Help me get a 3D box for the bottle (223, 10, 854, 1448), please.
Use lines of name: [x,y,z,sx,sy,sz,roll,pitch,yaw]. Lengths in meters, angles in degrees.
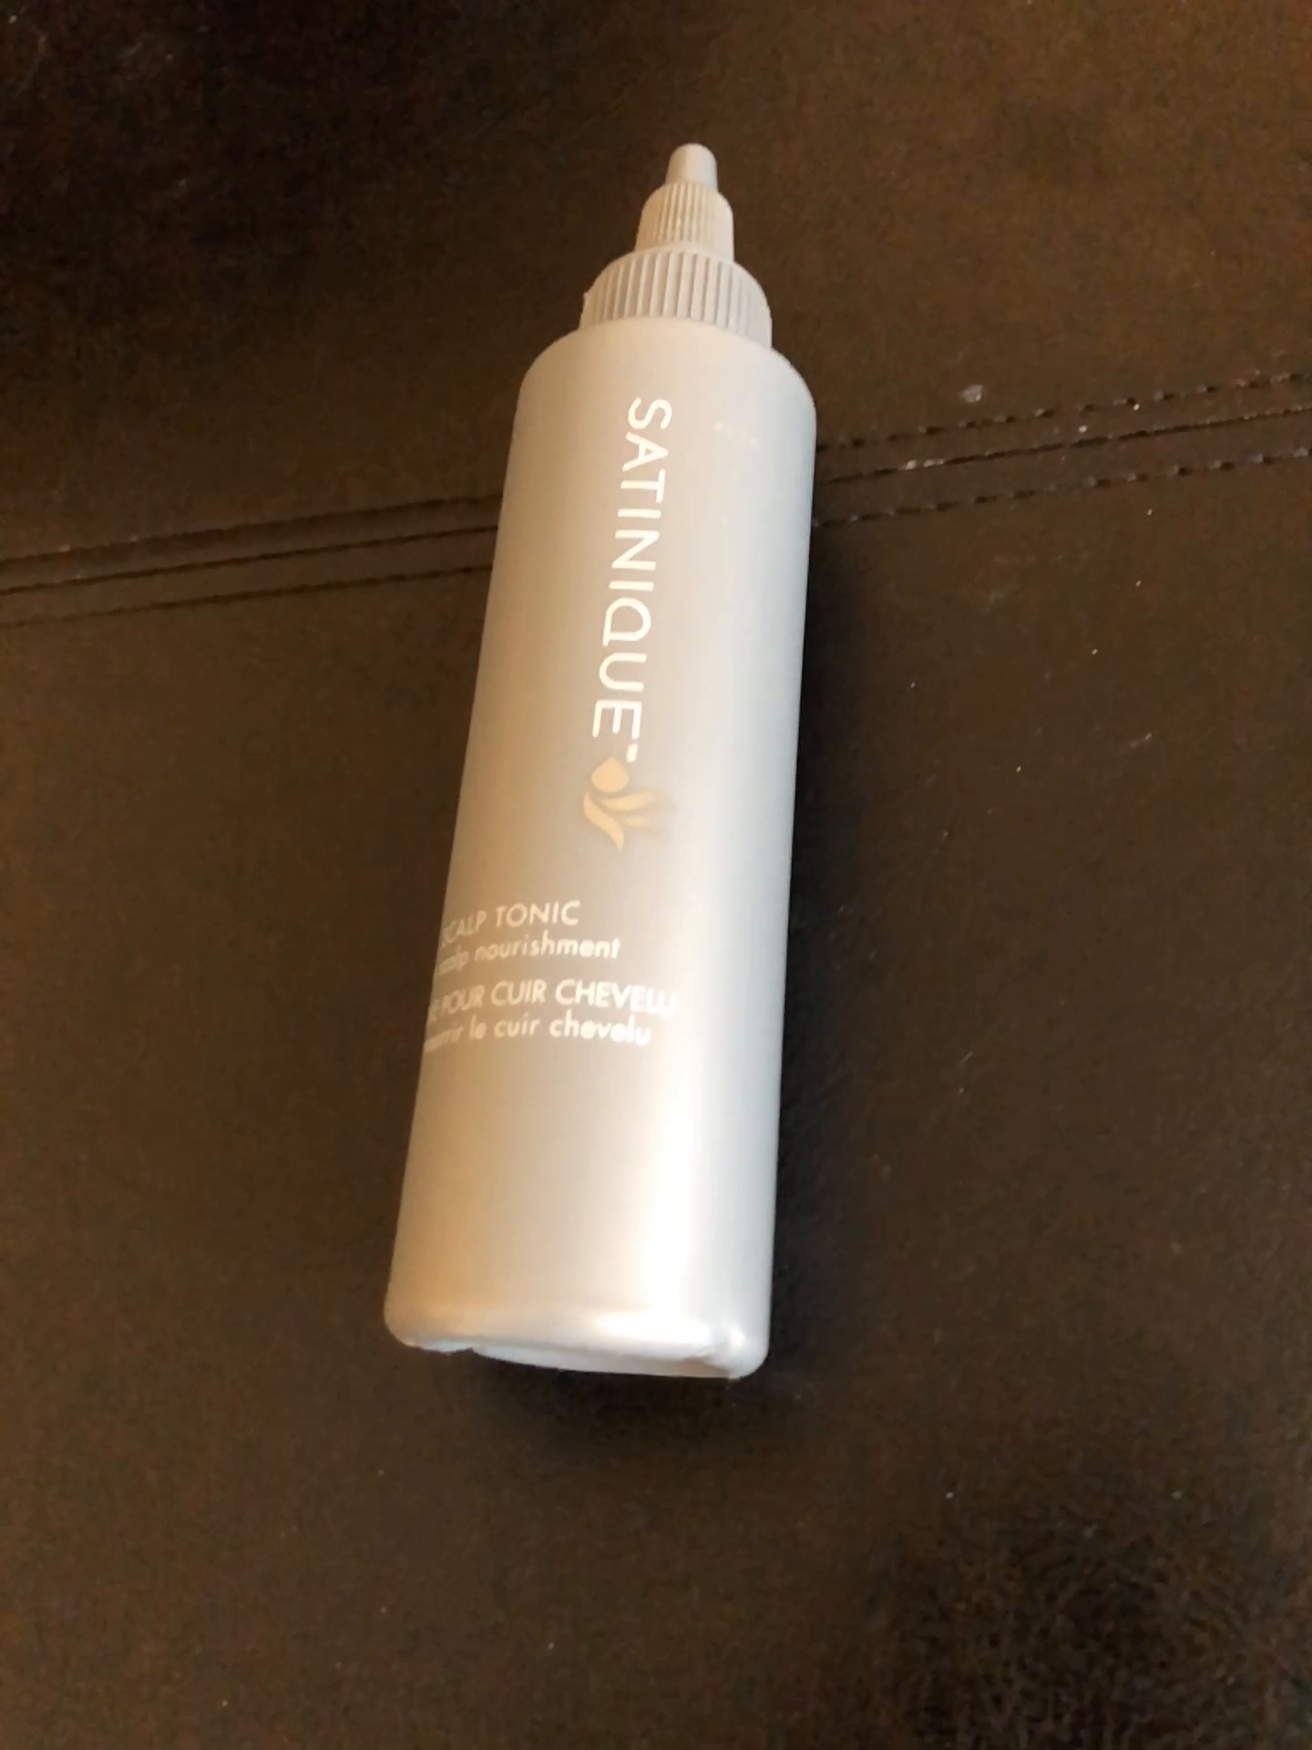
bottle: [-0.004,-0.017,0.153,0.040,0.040,0.140,-1,69,16]
